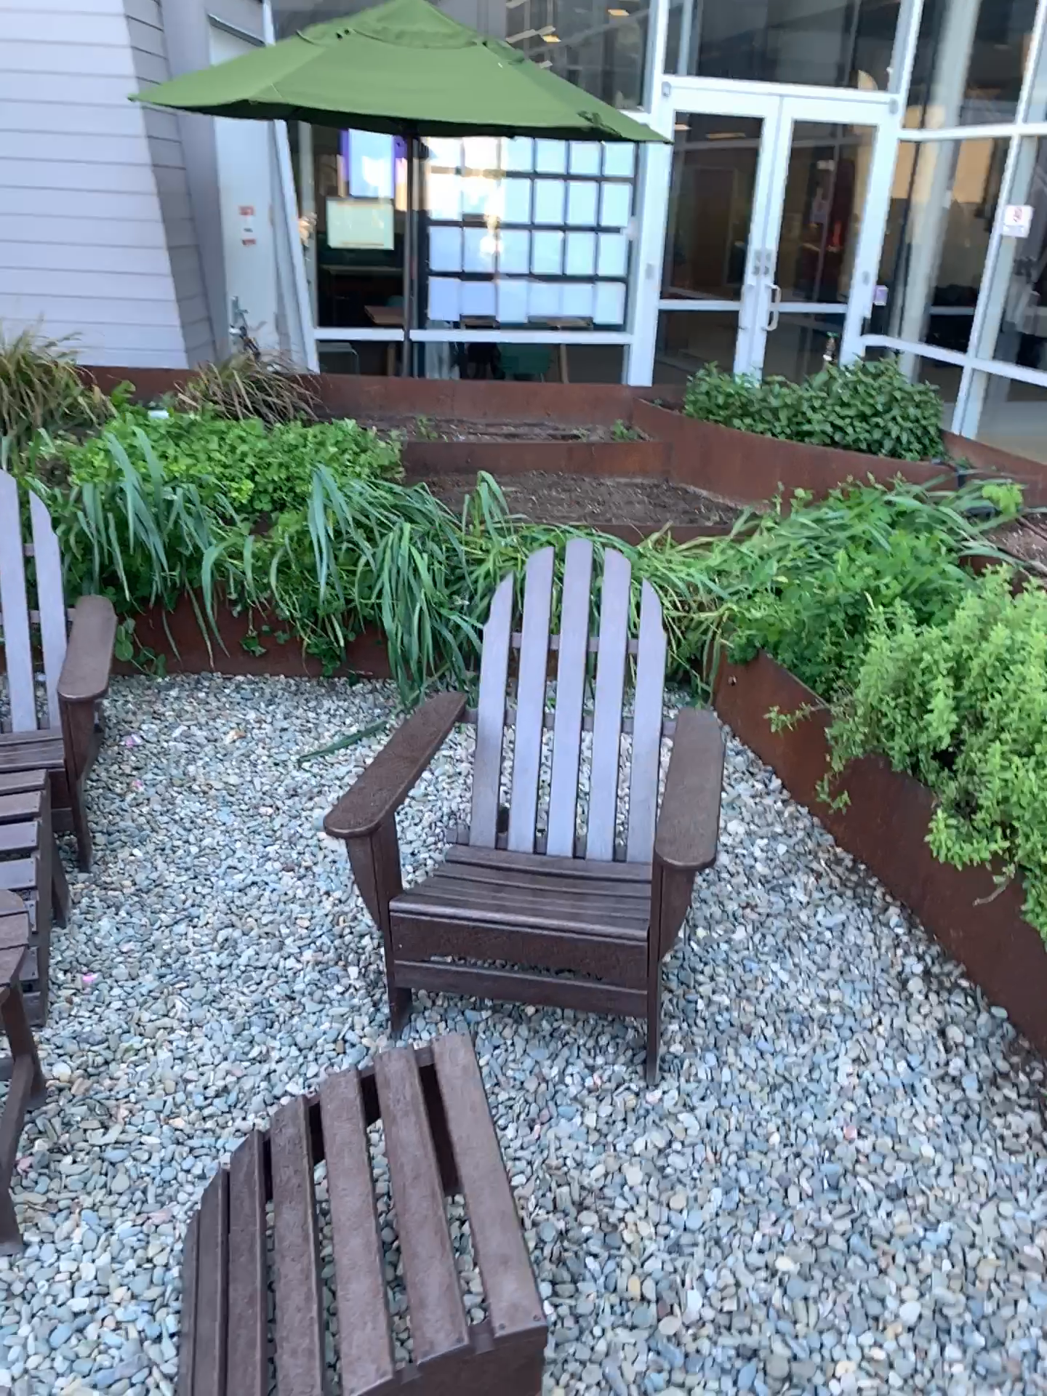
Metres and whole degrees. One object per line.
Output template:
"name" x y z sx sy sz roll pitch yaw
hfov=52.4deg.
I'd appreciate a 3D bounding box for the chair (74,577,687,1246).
"chair" -0.275 0.401 2.613 1.001 0.995 1.004 13 27 21
